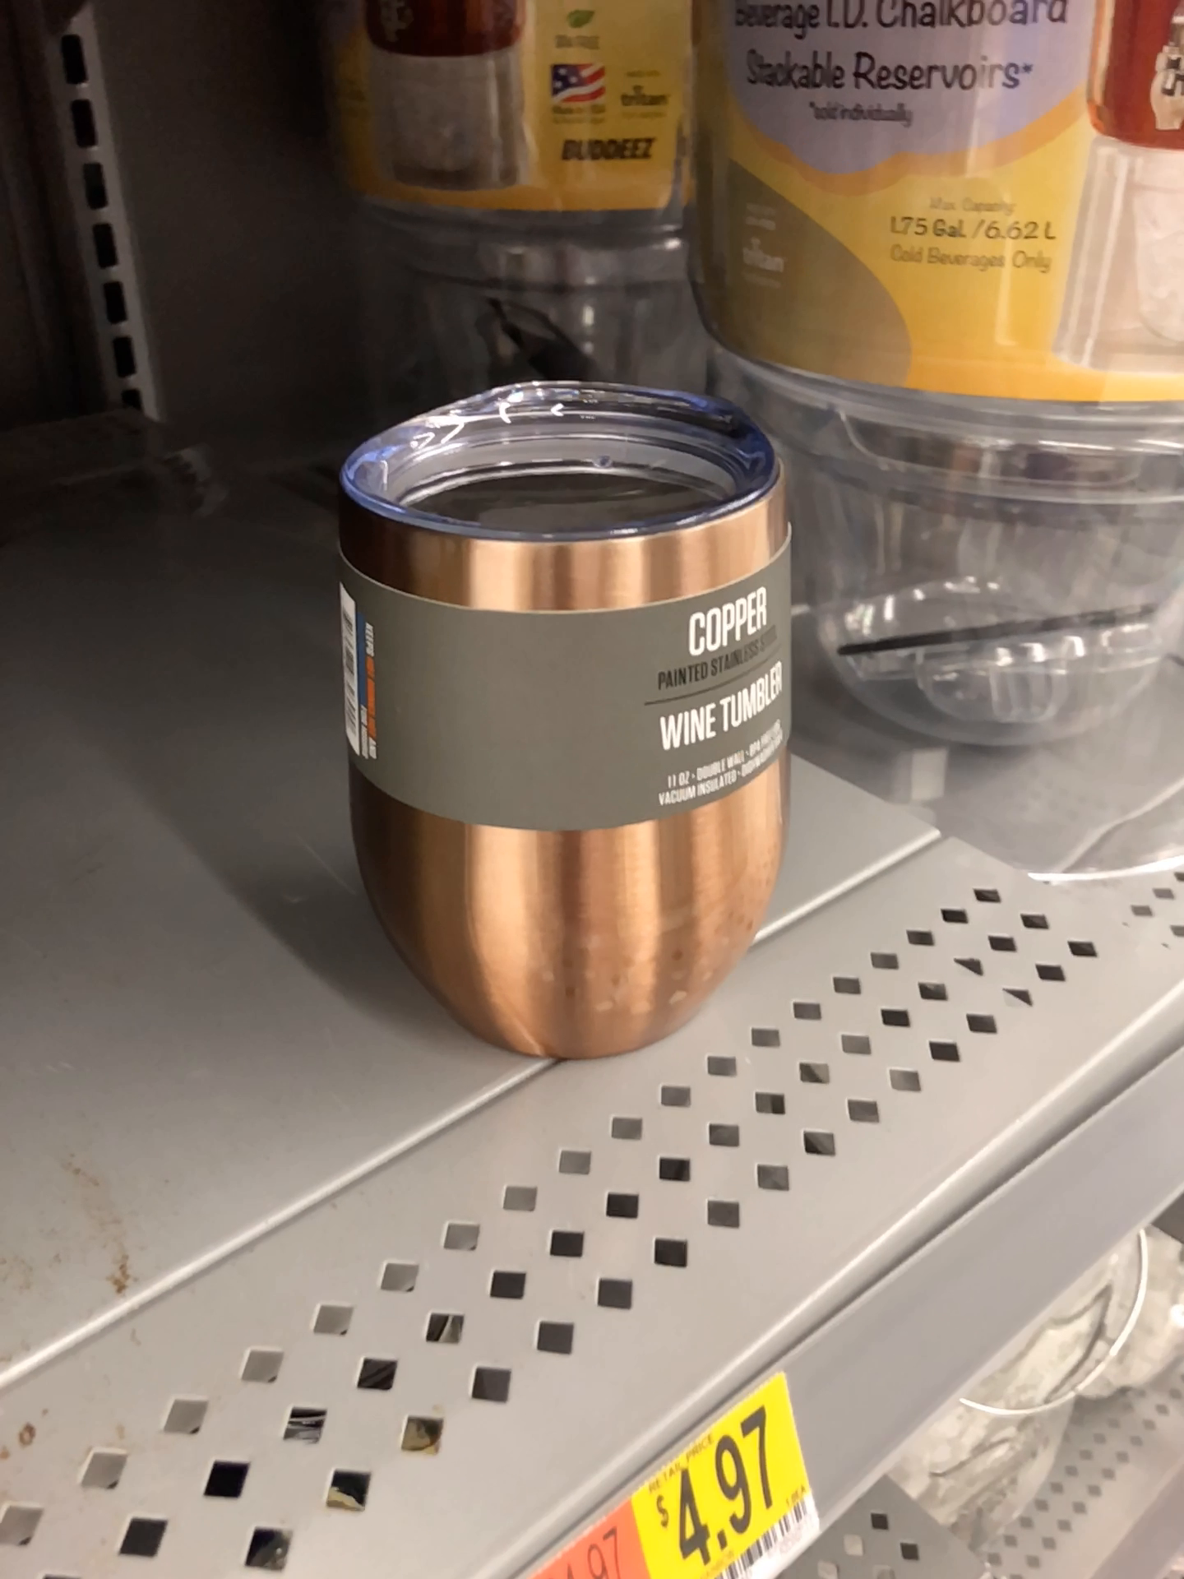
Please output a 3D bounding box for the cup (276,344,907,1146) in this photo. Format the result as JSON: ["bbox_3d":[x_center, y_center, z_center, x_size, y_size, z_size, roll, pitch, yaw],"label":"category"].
[{"bbox_3d":[0.000,-0.013,0.264,0.088,0.121,0.068,-26,42,-37],"label":"cup"}]
